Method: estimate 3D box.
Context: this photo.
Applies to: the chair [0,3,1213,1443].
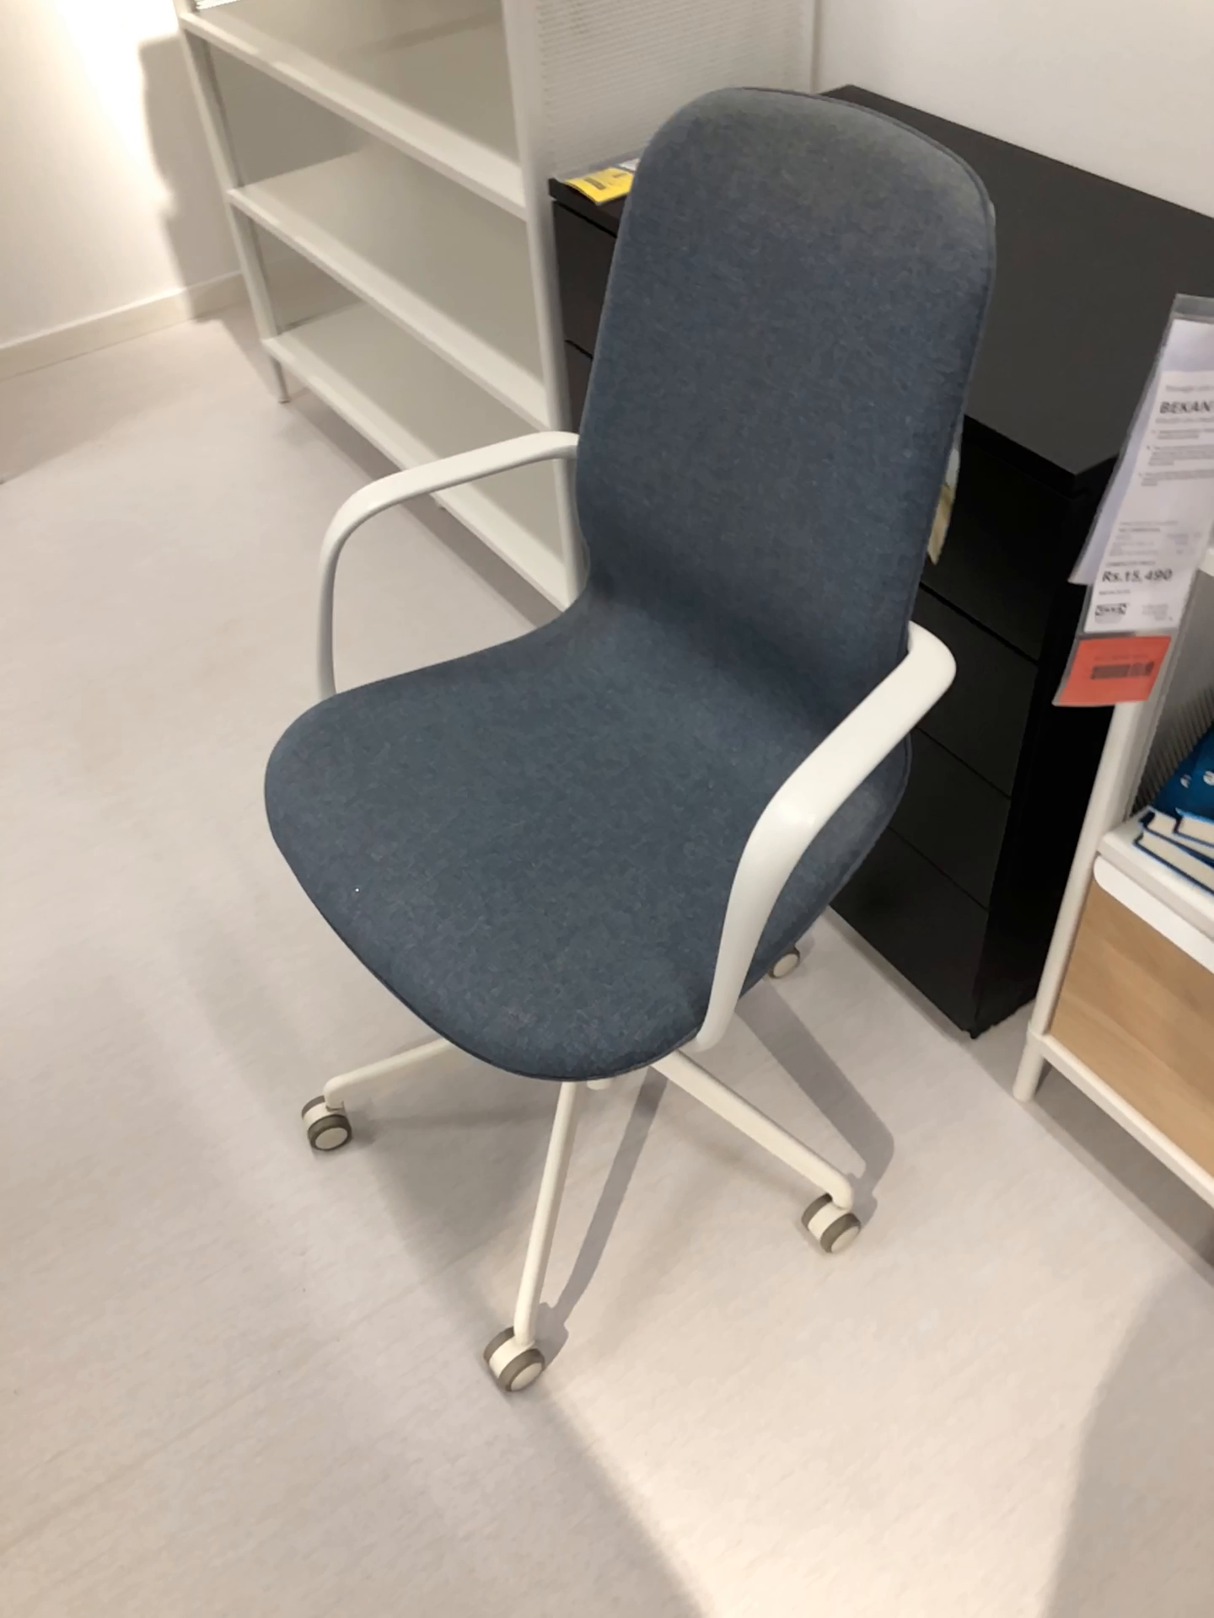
[{"bbox_3d":[-0.058,-0.029,1.205,0.700,0.994,0.704,-9,46,-3],"label":"chair"}]
